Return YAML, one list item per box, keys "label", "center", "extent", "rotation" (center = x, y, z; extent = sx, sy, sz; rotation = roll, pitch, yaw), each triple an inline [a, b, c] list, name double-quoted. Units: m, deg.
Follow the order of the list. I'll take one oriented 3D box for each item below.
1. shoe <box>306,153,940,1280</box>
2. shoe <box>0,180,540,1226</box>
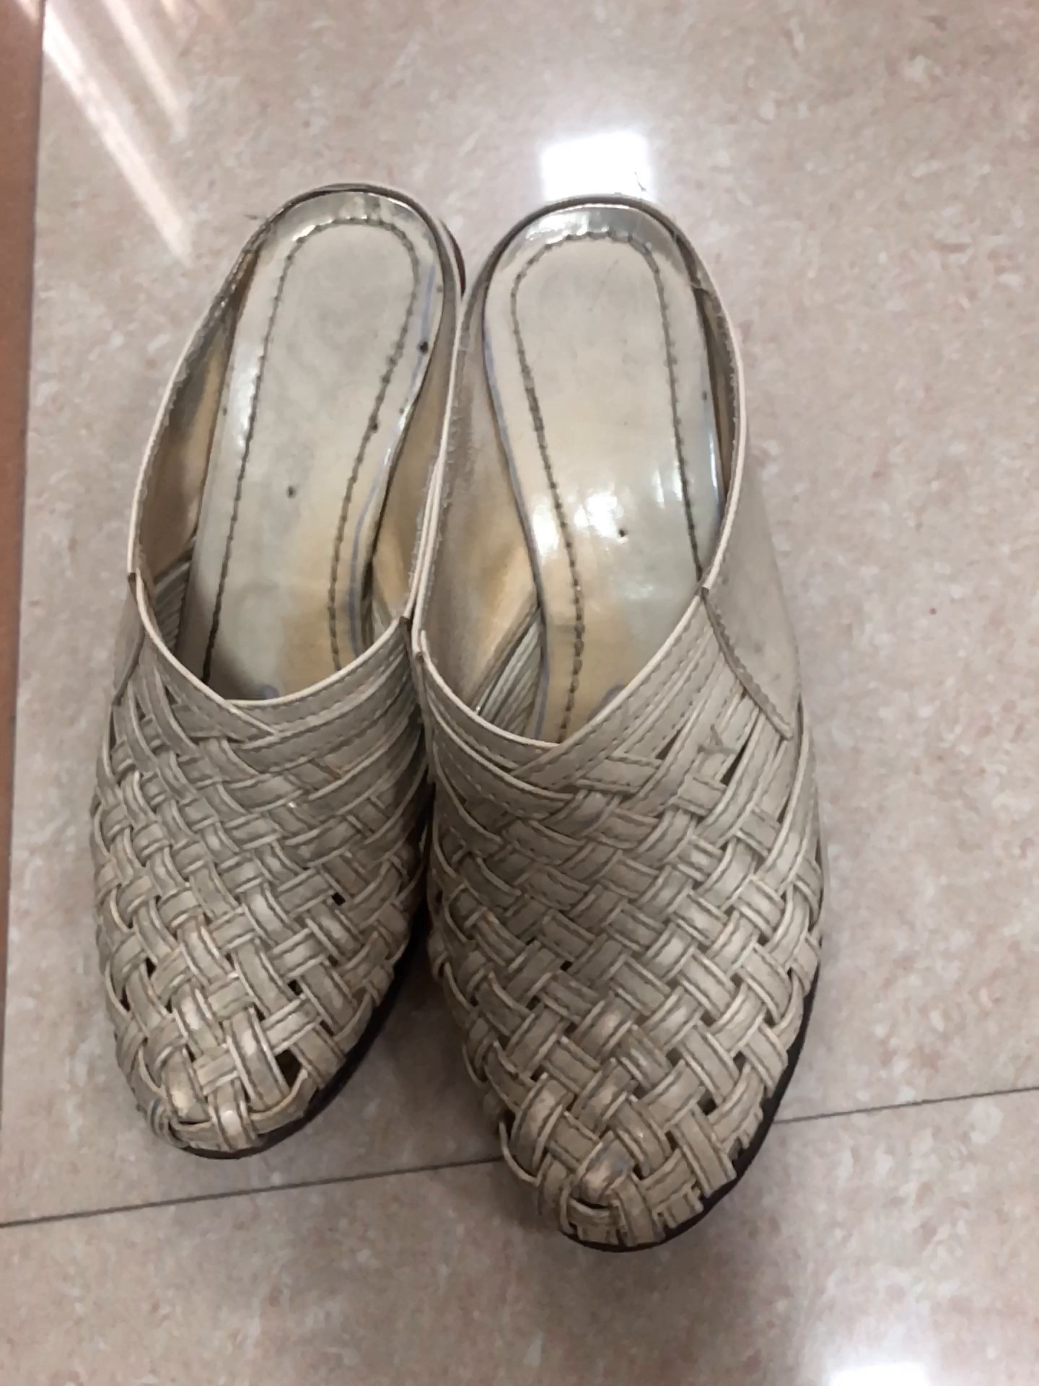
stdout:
- label: "shoe"
  center: [0.018, 0.004, 0.263]
  extent: [0.100, 0.085, 0.221]
  rotation: [-4, 69, 8]
- label: "shoe"
  center: [-0.067, -0.004, 0.285]
  extent: [0.100, 0.085, 0.225]
  rotation: [5, 71, 12]
